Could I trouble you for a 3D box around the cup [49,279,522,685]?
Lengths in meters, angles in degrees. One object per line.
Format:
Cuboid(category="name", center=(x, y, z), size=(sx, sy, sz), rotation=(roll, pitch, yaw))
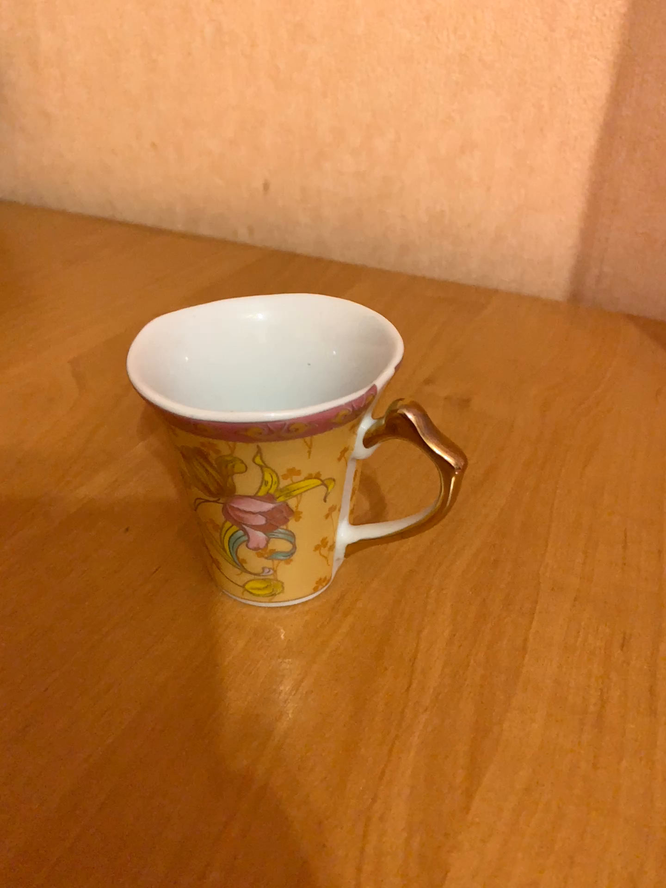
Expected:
Cuboid(category="cup", center=(-0.005, 0.003, 0.181), size=(0.094, 0.061, 0.072), rotation=(9, 33, 12))
